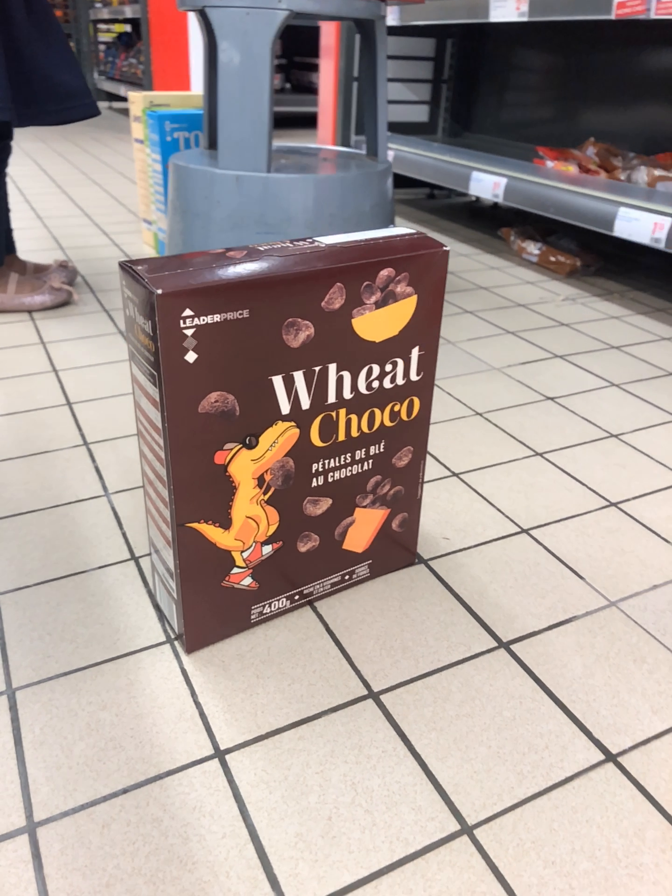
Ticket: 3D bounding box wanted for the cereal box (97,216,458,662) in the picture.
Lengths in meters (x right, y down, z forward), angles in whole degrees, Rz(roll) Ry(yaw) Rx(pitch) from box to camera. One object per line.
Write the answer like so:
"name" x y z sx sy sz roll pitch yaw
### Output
"cereal box" -0.032 -0.011 0.490 0.201 0.249 0.070 -15 32 -28
